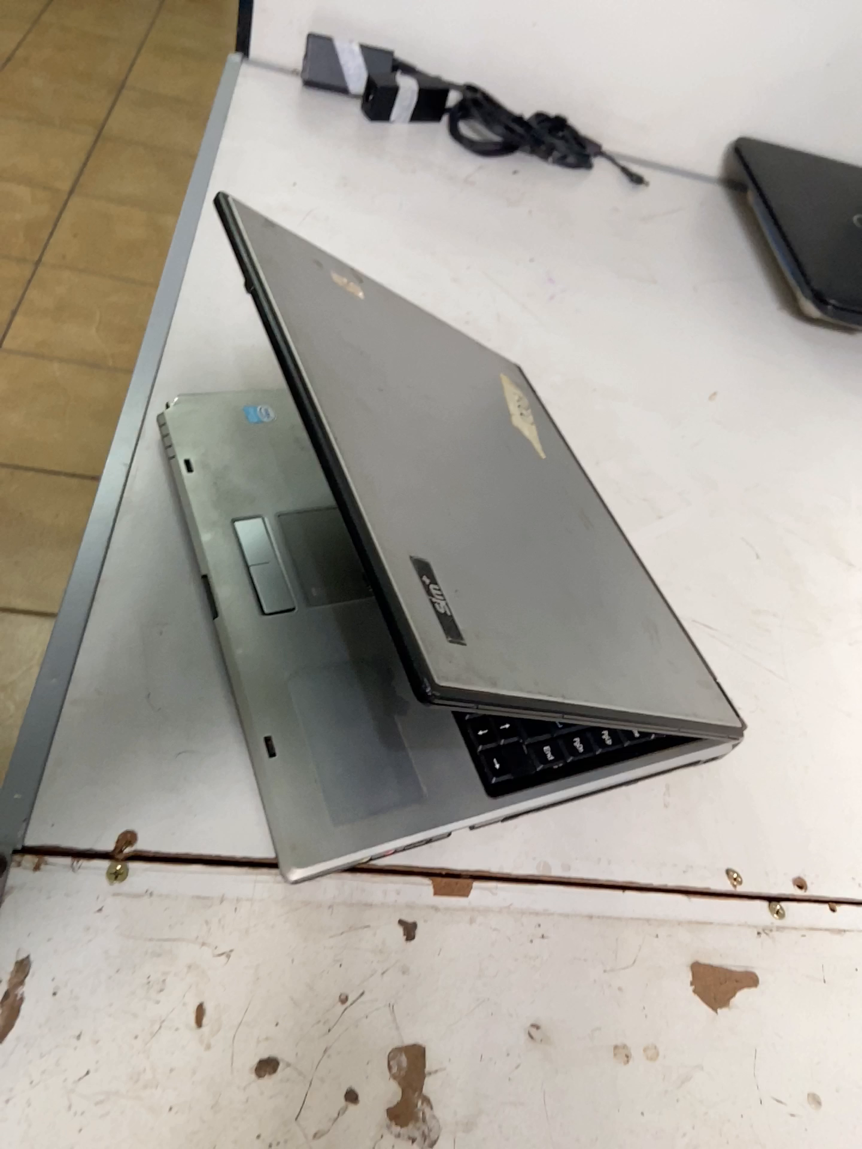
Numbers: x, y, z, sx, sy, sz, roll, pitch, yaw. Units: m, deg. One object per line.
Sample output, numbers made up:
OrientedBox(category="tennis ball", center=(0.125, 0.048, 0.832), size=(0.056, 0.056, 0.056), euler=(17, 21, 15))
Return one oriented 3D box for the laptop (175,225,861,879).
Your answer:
OrientedBox(category="laptop", center=(0.016, -0.047, 0.485), size=(0.254, 0.130, 0.317), euler=(-8, 52, -23))
